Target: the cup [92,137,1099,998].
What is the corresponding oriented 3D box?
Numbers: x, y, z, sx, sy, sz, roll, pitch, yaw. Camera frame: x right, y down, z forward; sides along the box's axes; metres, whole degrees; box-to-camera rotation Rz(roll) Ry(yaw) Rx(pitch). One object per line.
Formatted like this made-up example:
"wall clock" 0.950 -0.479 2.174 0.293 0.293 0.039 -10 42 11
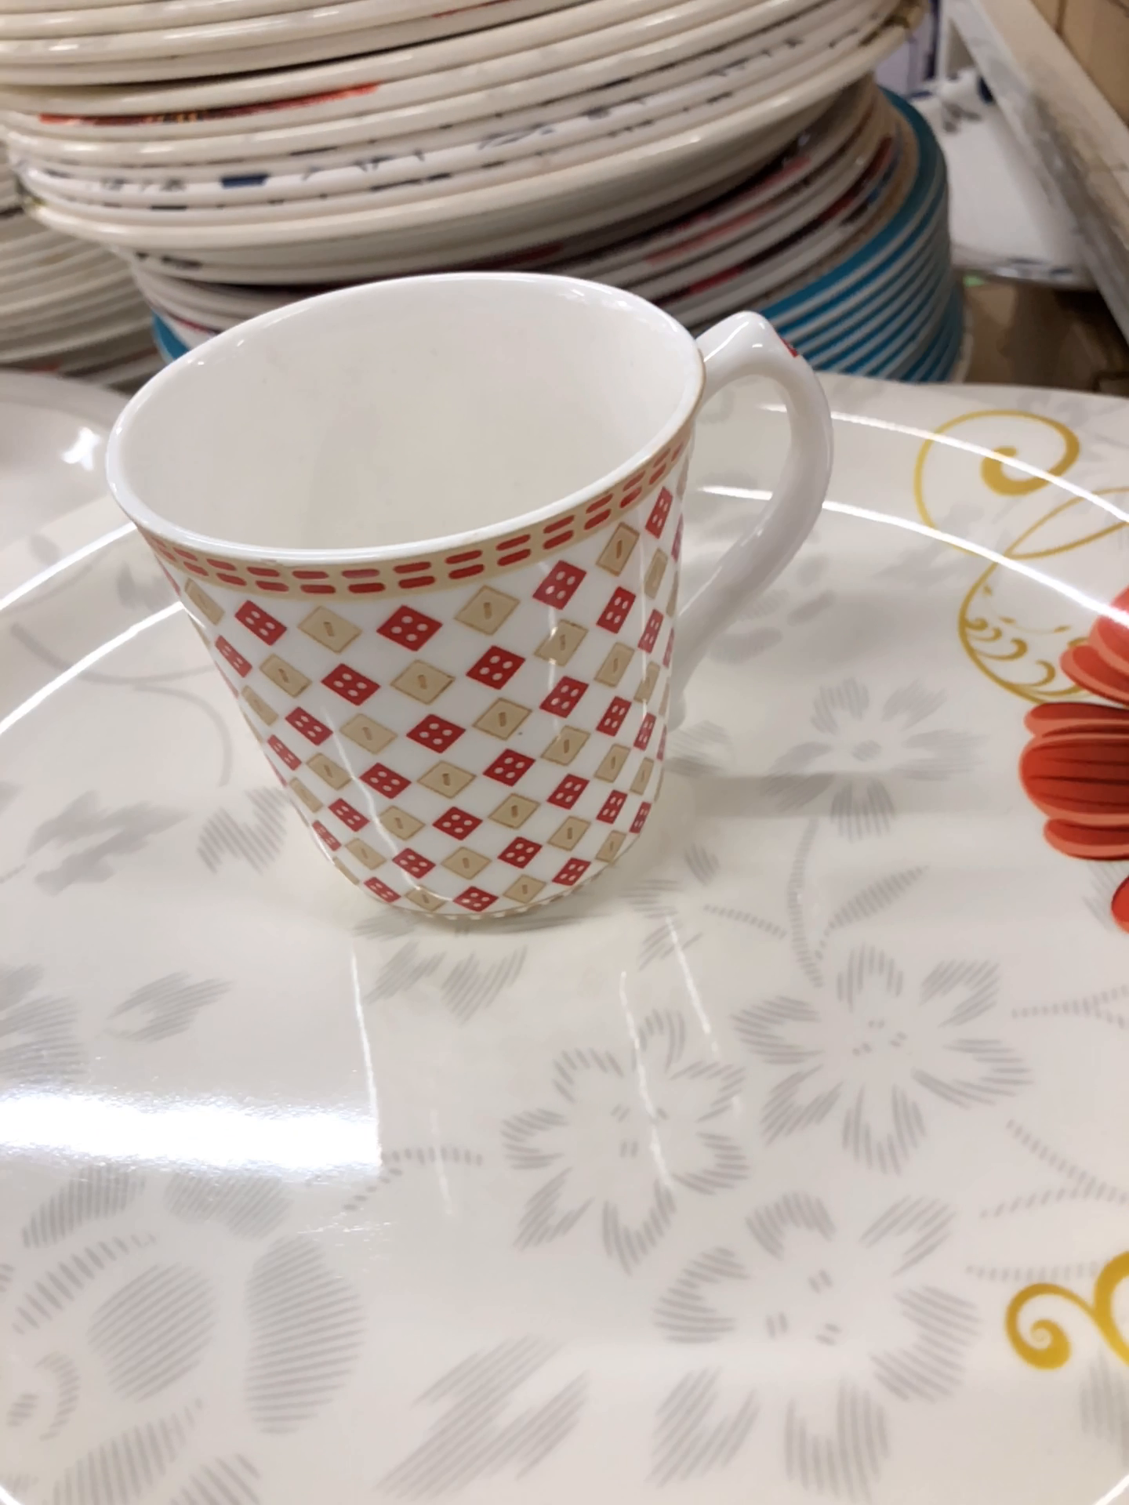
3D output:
"cup" 0.001 -0.032 0.201 0.120 0.080 0.080 -15 43 -6
